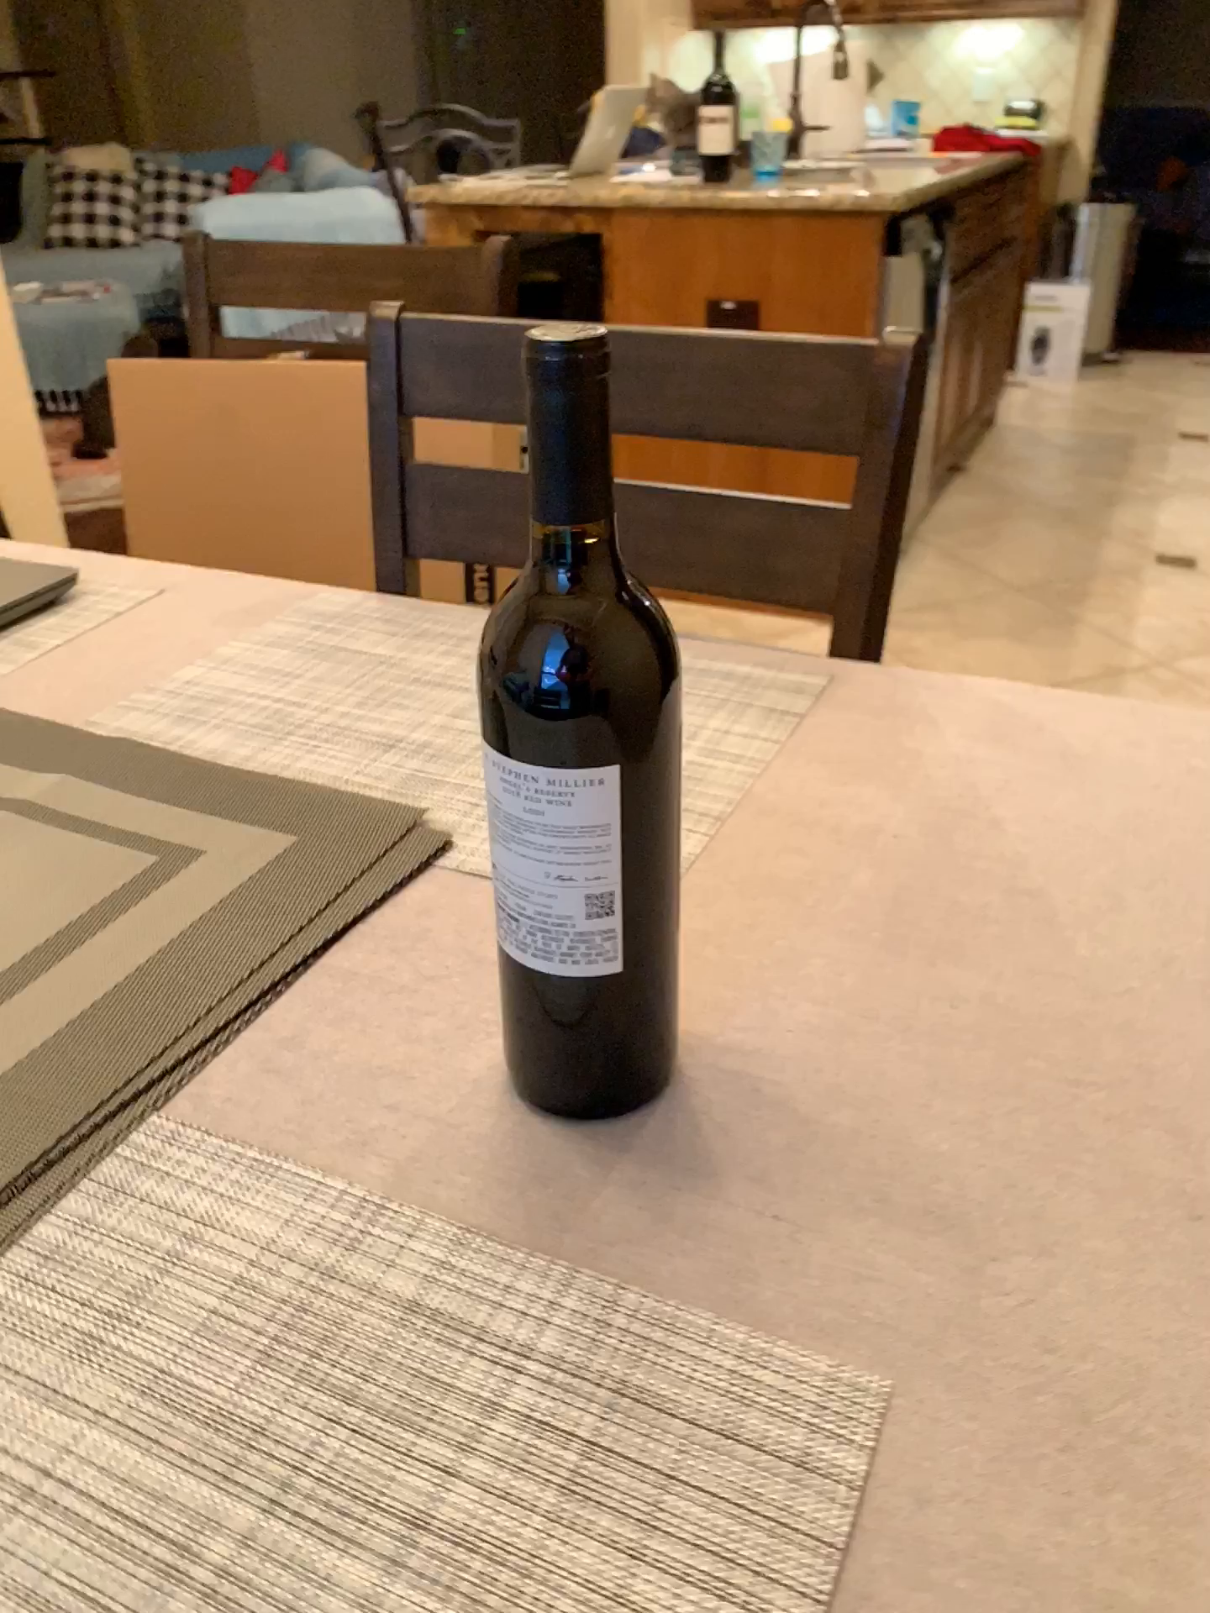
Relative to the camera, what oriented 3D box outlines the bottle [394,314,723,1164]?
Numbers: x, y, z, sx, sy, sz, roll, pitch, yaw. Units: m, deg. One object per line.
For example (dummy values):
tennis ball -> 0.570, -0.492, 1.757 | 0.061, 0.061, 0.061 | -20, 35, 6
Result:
bottle -> -0.010, -0.016, 0.483 | 0.080, 0.314, 0.080 | -1, 29, 1
